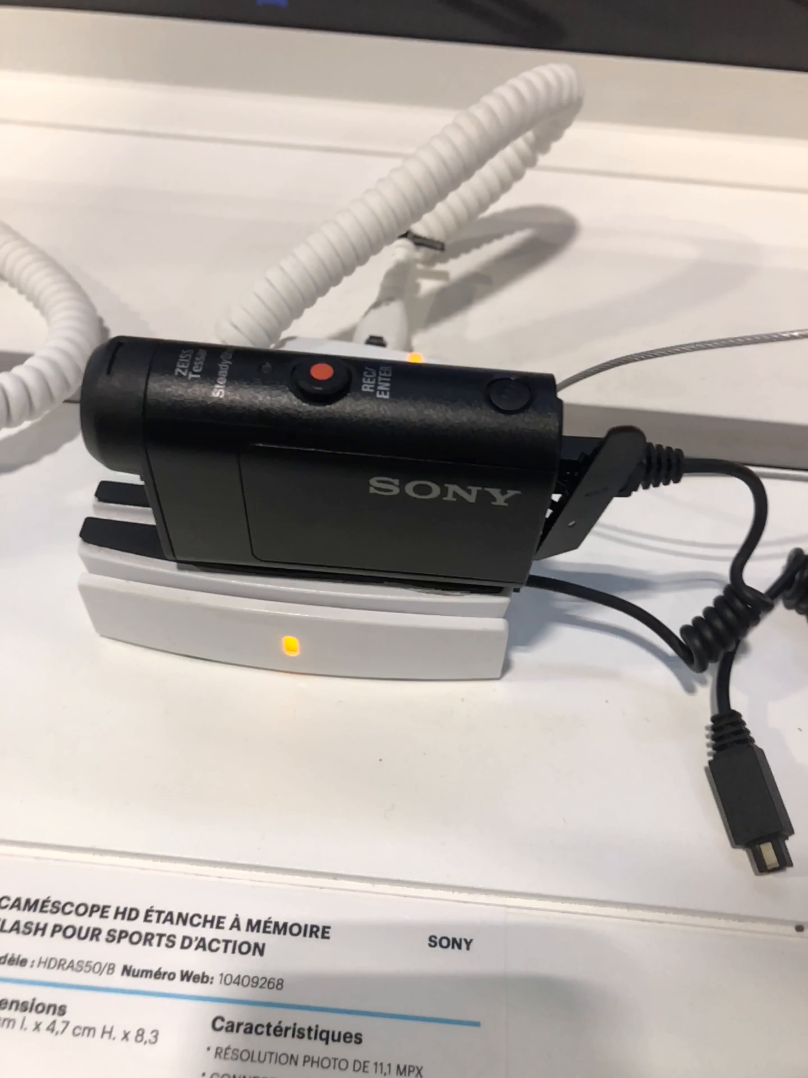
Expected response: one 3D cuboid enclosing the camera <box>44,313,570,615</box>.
[{"bbox_3d":[-0.015,-0.012,0.160,0.080,0.045,0.020,6,50,2],"label":"camera"}]
